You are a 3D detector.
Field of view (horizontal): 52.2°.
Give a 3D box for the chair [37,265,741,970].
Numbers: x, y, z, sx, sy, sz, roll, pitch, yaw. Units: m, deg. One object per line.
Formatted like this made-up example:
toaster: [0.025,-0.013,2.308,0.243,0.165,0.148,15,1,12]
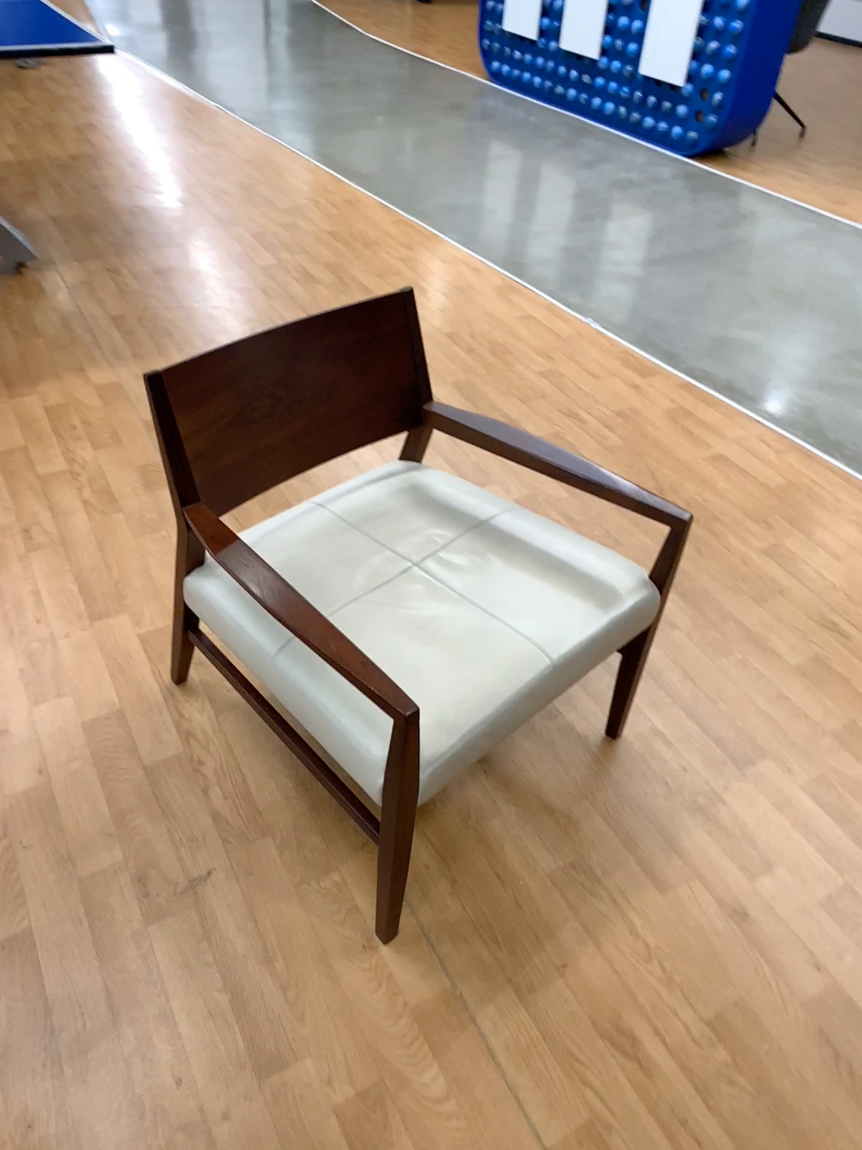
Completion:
chair: [-0.075,0.000,1.421,0.713,0.635,0.673,35,49,31]
